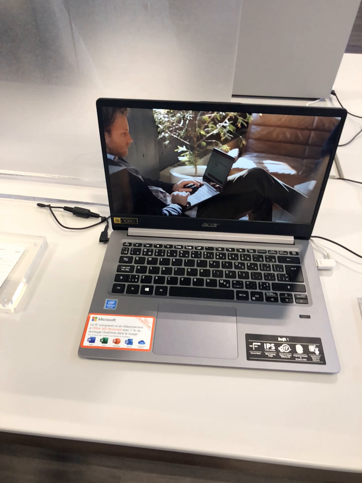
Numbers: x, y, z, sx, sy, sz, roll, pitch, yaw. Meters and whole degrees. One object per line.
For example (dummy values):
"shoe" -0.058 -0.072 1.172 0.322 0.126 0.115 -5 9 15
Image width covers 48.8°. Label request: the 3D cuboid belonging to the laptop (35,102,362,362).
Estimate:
"laptop" 0.036 -0.014 0.488 0.306 0.205 0.225 3 45 1
